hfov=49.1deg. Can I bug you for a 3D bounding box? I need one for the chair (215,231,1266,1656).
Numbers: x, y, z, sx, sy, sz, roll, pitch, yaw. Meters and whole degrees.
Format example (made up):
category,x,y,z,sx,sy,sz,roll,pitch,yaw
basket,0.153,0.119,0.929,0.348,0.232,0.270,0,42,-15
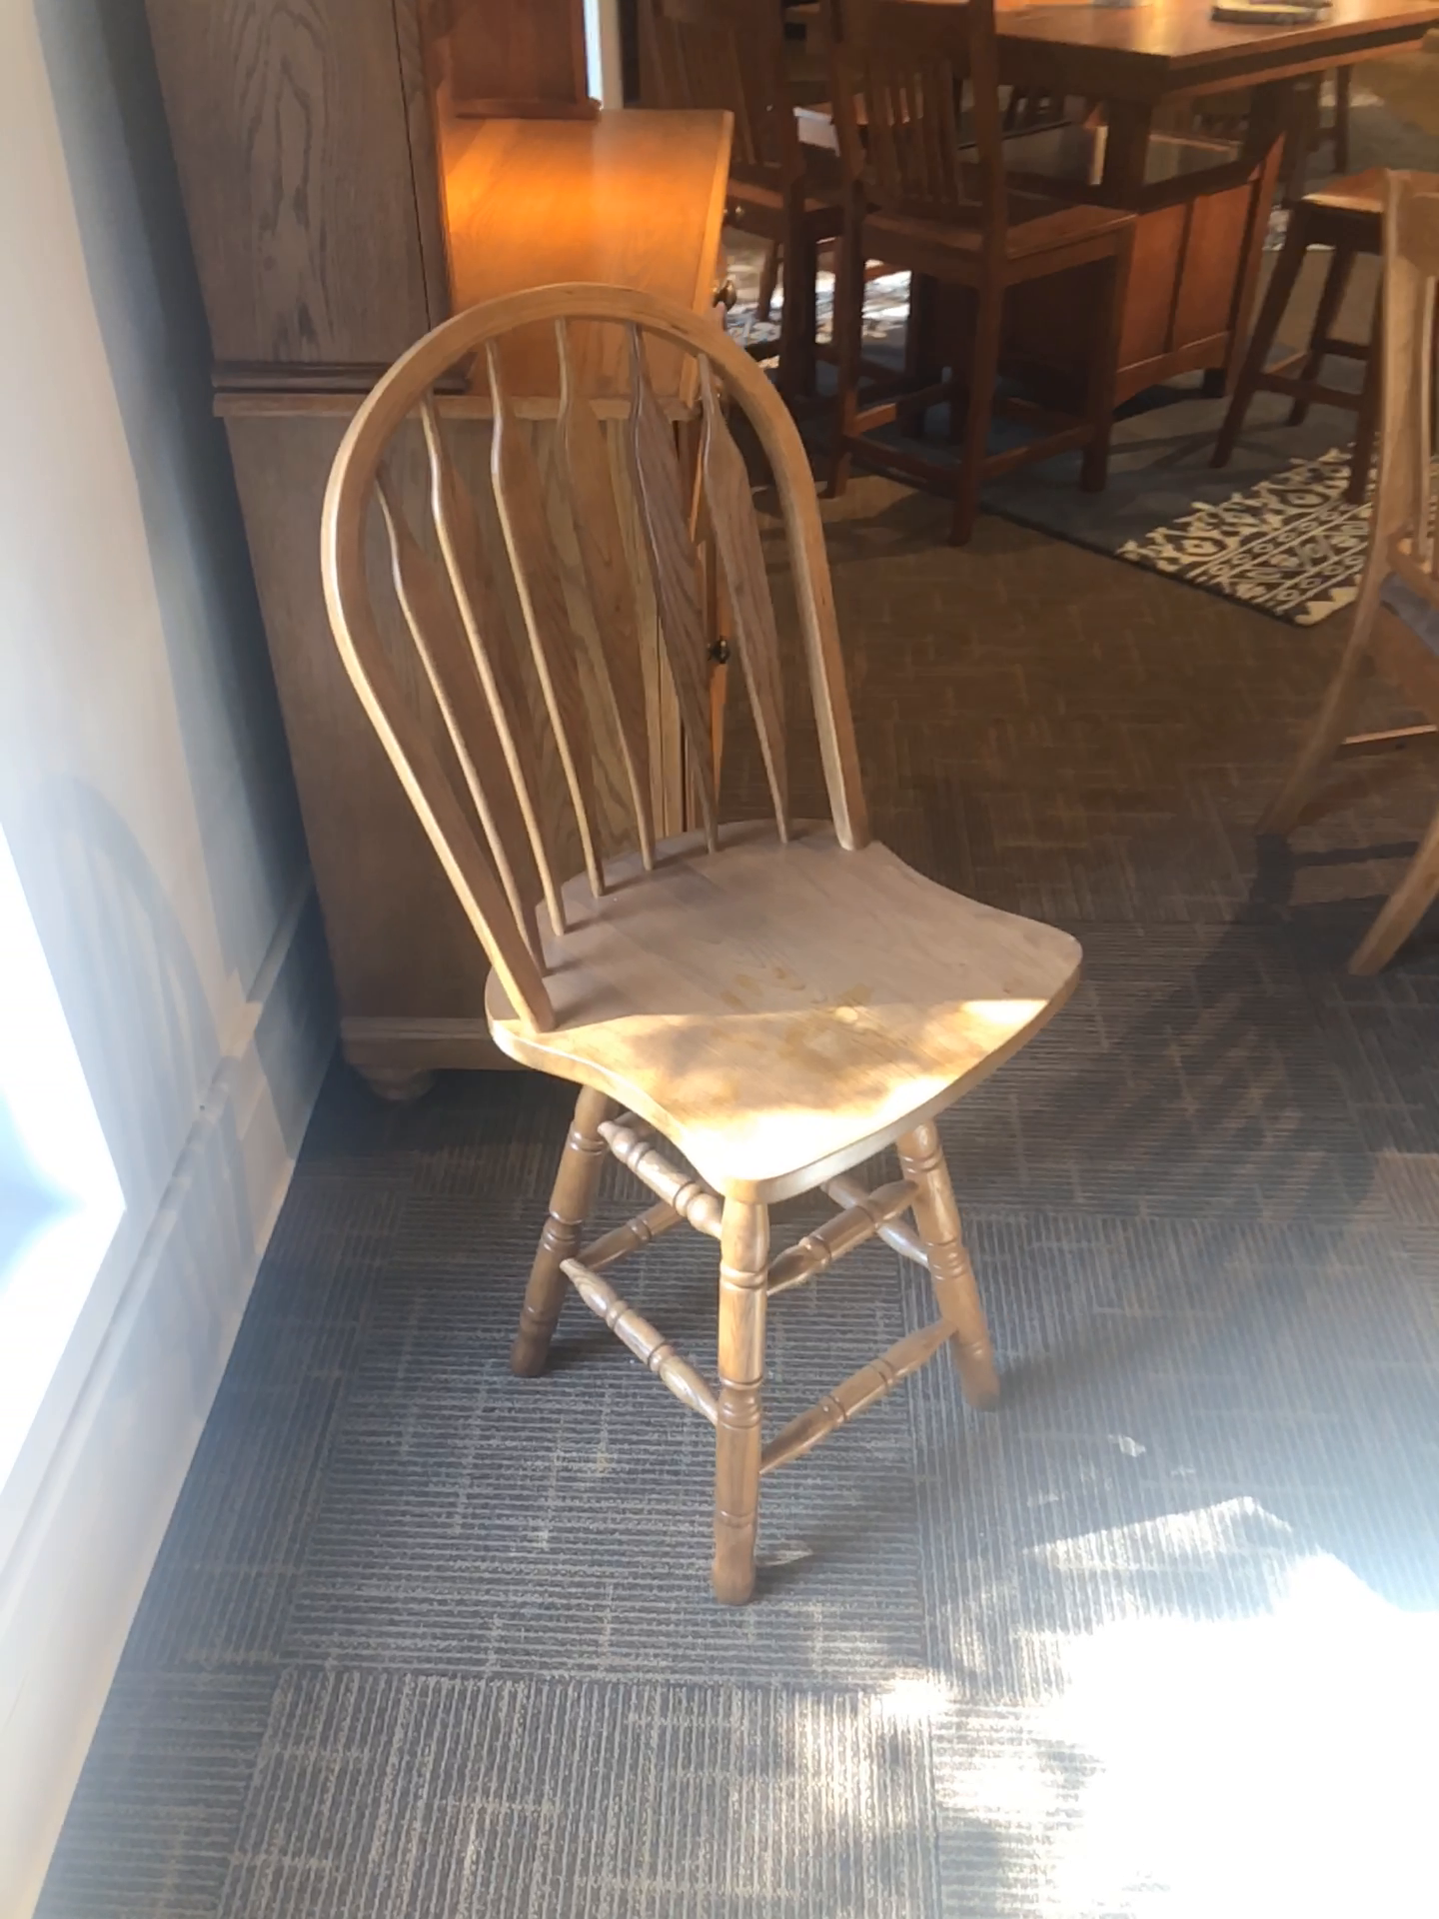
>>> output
category,x,y,z,sx,sy,sz,roll,pitch,yaw
chair,0.012,-0.003,1.391,0.481,1.025,0.541,-29,46,-31
